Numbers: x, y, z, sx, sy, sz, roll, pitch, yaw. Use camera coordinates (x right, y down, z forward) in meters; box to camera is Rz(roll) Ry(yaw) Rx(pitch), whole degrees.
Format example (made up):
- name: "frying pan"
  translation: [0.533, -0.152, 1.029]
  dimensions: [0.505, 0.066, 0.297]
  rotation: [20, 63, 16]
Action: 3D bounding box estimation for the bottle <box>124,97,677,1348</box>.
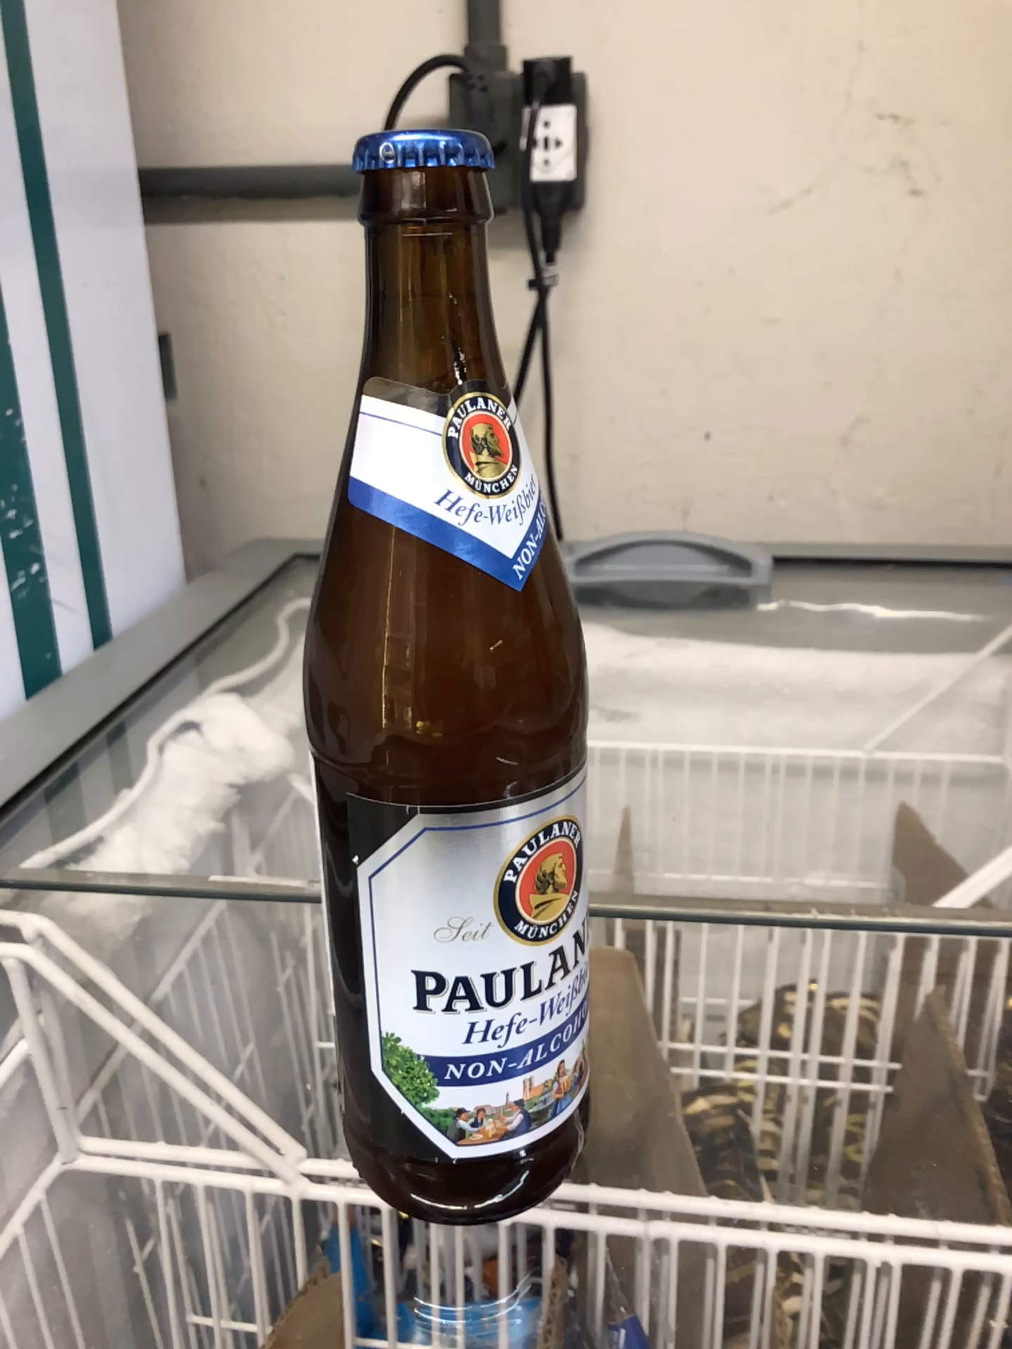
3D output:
- name: "bottle"
  translation: [-0.019, 0.014, 0.257]
  dimensions: [0.080, 0.248, 0.070]
  rotation: [-16, 24, -37]
